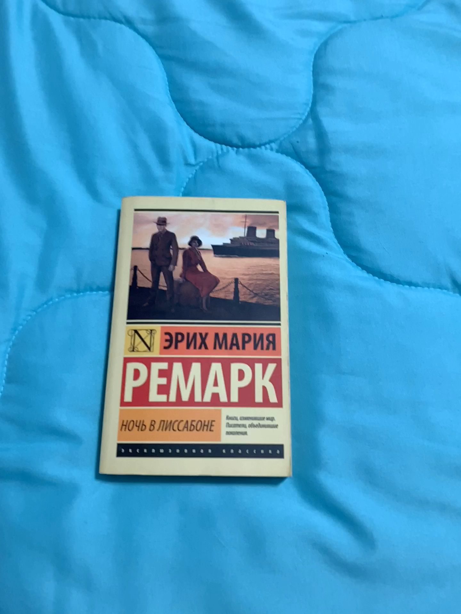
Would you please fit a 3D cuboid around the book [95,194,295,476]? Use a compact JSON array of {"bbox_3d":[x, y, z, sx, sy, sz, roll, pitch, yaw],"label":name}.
[{"bbox_3d":[-0.019,0.014,0.295,0.112,0.020,0.172,1,76,-2],"label":"book"}]
